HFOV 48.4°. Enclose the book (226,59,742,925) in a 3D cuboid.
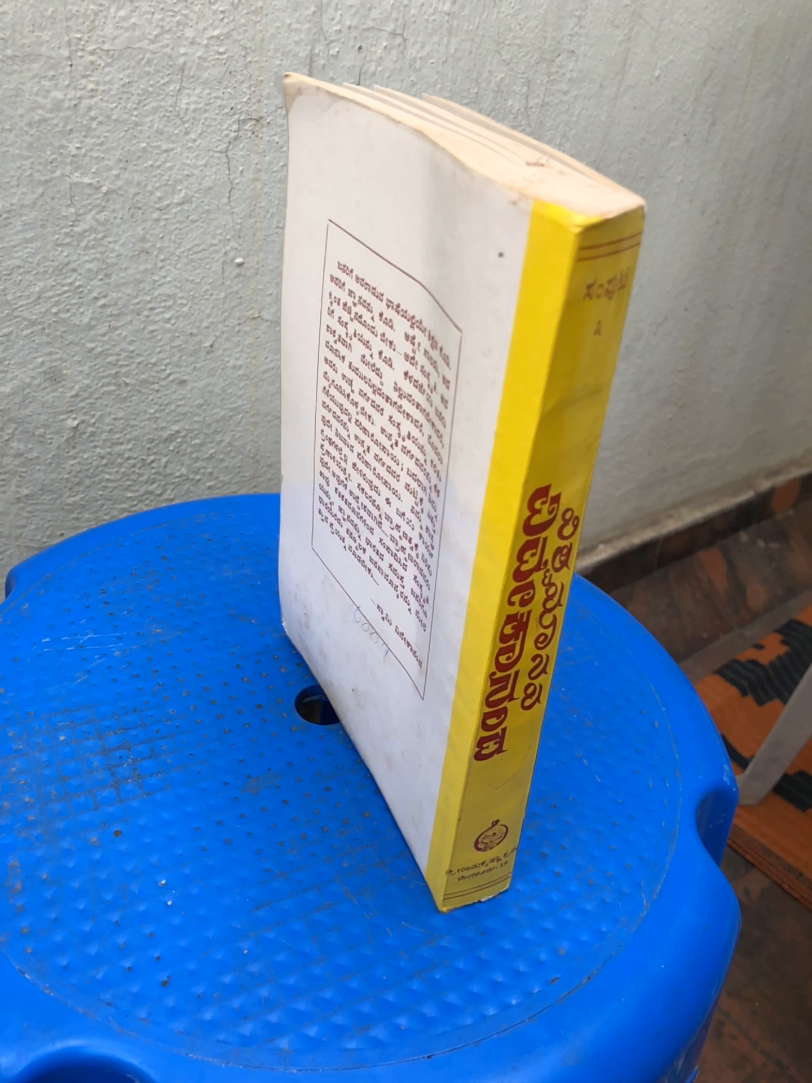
[{"bbox_3d":[-0.004,-0.027,0.286,0.050,0.199,0.191,-11,37,-21],"label":"book"}]
